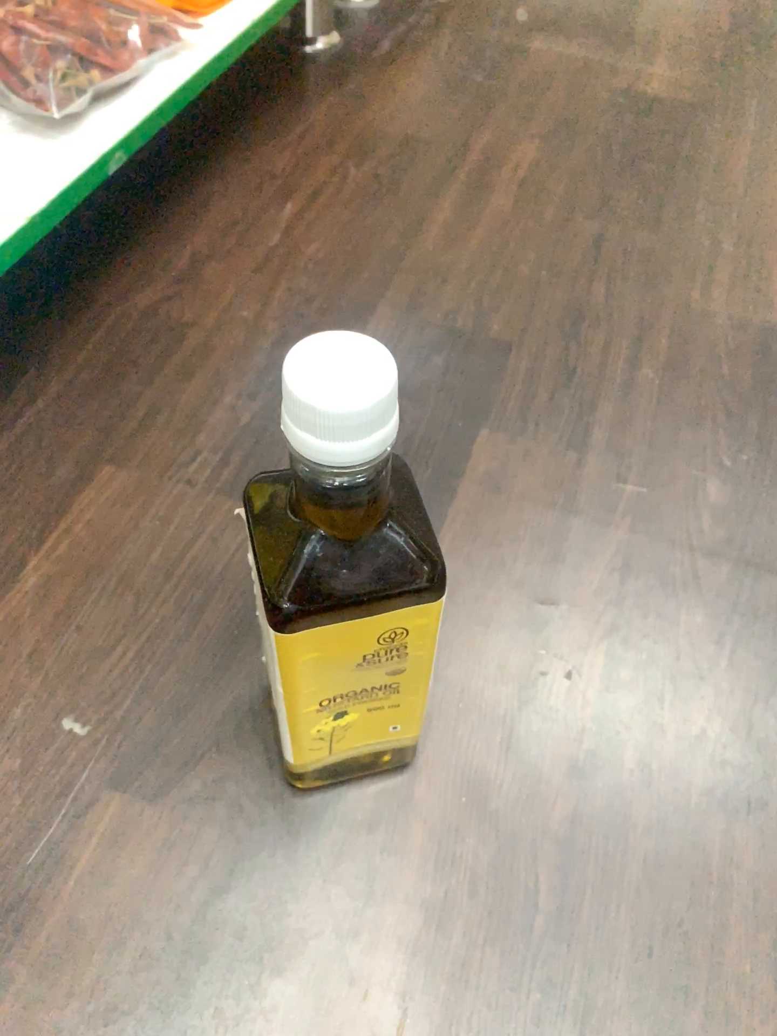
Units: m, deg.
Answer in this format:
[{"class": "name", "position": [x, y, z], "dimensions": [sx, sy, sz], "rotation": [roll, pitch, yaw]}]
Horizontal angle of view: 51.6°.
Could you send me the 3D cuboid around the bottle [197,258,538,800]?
[{"class": "bottle", "position": [-0.012, 0.023, 0.279], "dimensions": [0.070, 0.209, 0.060], "rotation": [-11, 53, -12]}]
